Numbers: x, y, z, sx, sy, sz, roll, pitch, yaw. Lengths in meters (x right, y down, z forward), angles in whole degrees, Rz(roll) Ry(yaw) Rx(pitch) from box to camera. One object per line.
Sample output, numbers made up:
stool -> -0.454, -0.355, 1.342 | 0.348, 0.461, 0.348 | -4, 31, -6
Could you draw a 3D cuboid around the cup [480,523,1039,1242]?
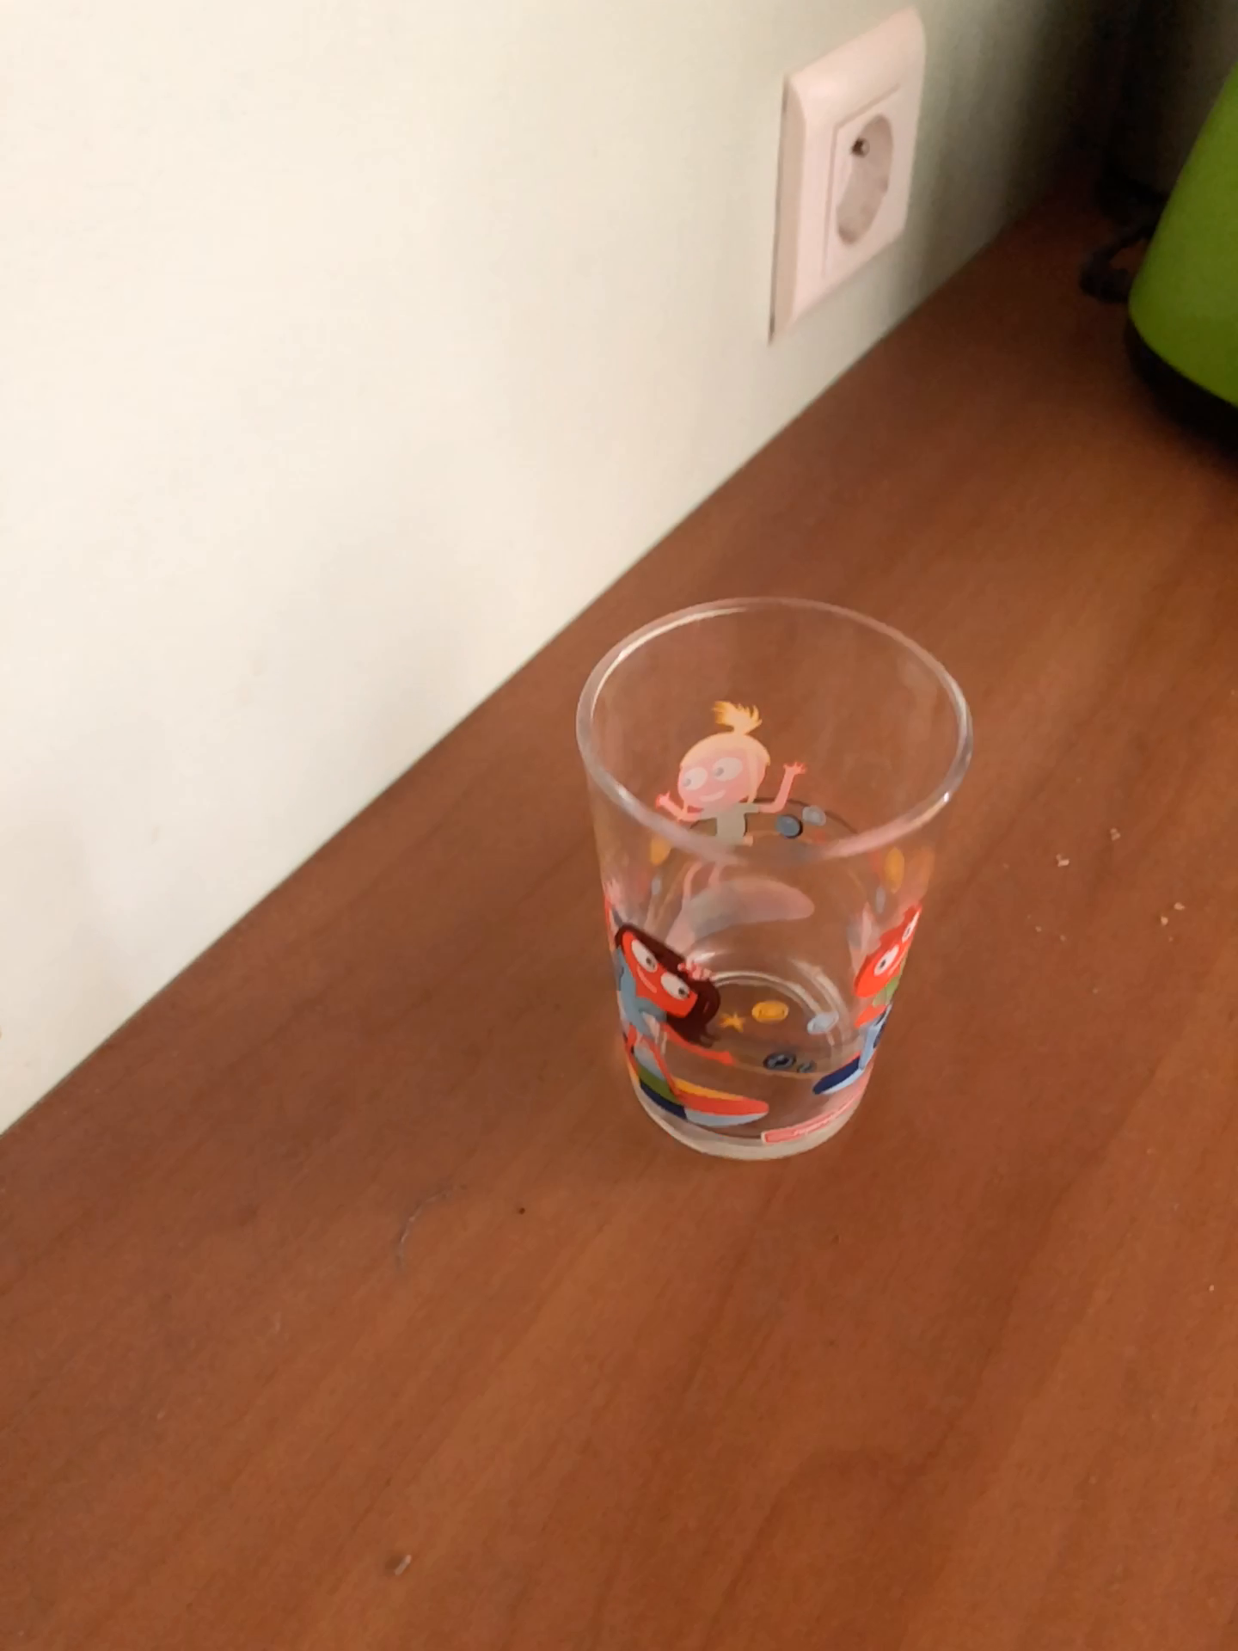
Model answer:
cup -> 0.026, 0.011, 0.263 | 0.070, 0.099, 0.070 | -1, 45, 1
